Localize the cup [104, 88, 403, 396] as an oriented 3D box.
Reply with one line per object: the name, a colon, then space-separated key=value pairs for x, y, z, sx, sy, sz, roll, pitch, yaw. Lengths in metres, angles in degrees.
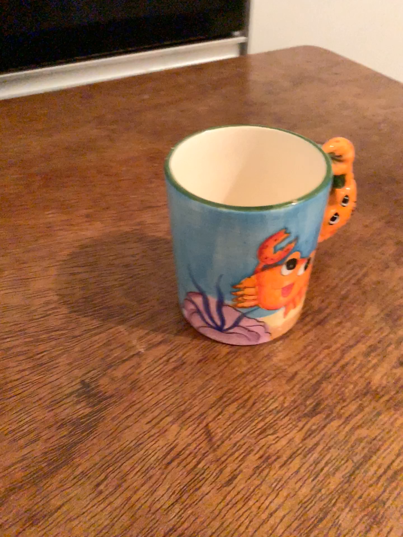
cup: x=0.032 y=-0.021 z=0.233 sx=0.130 sy=0.099 sz=0.080 roll=-31 pitch=51 yaw=-27
